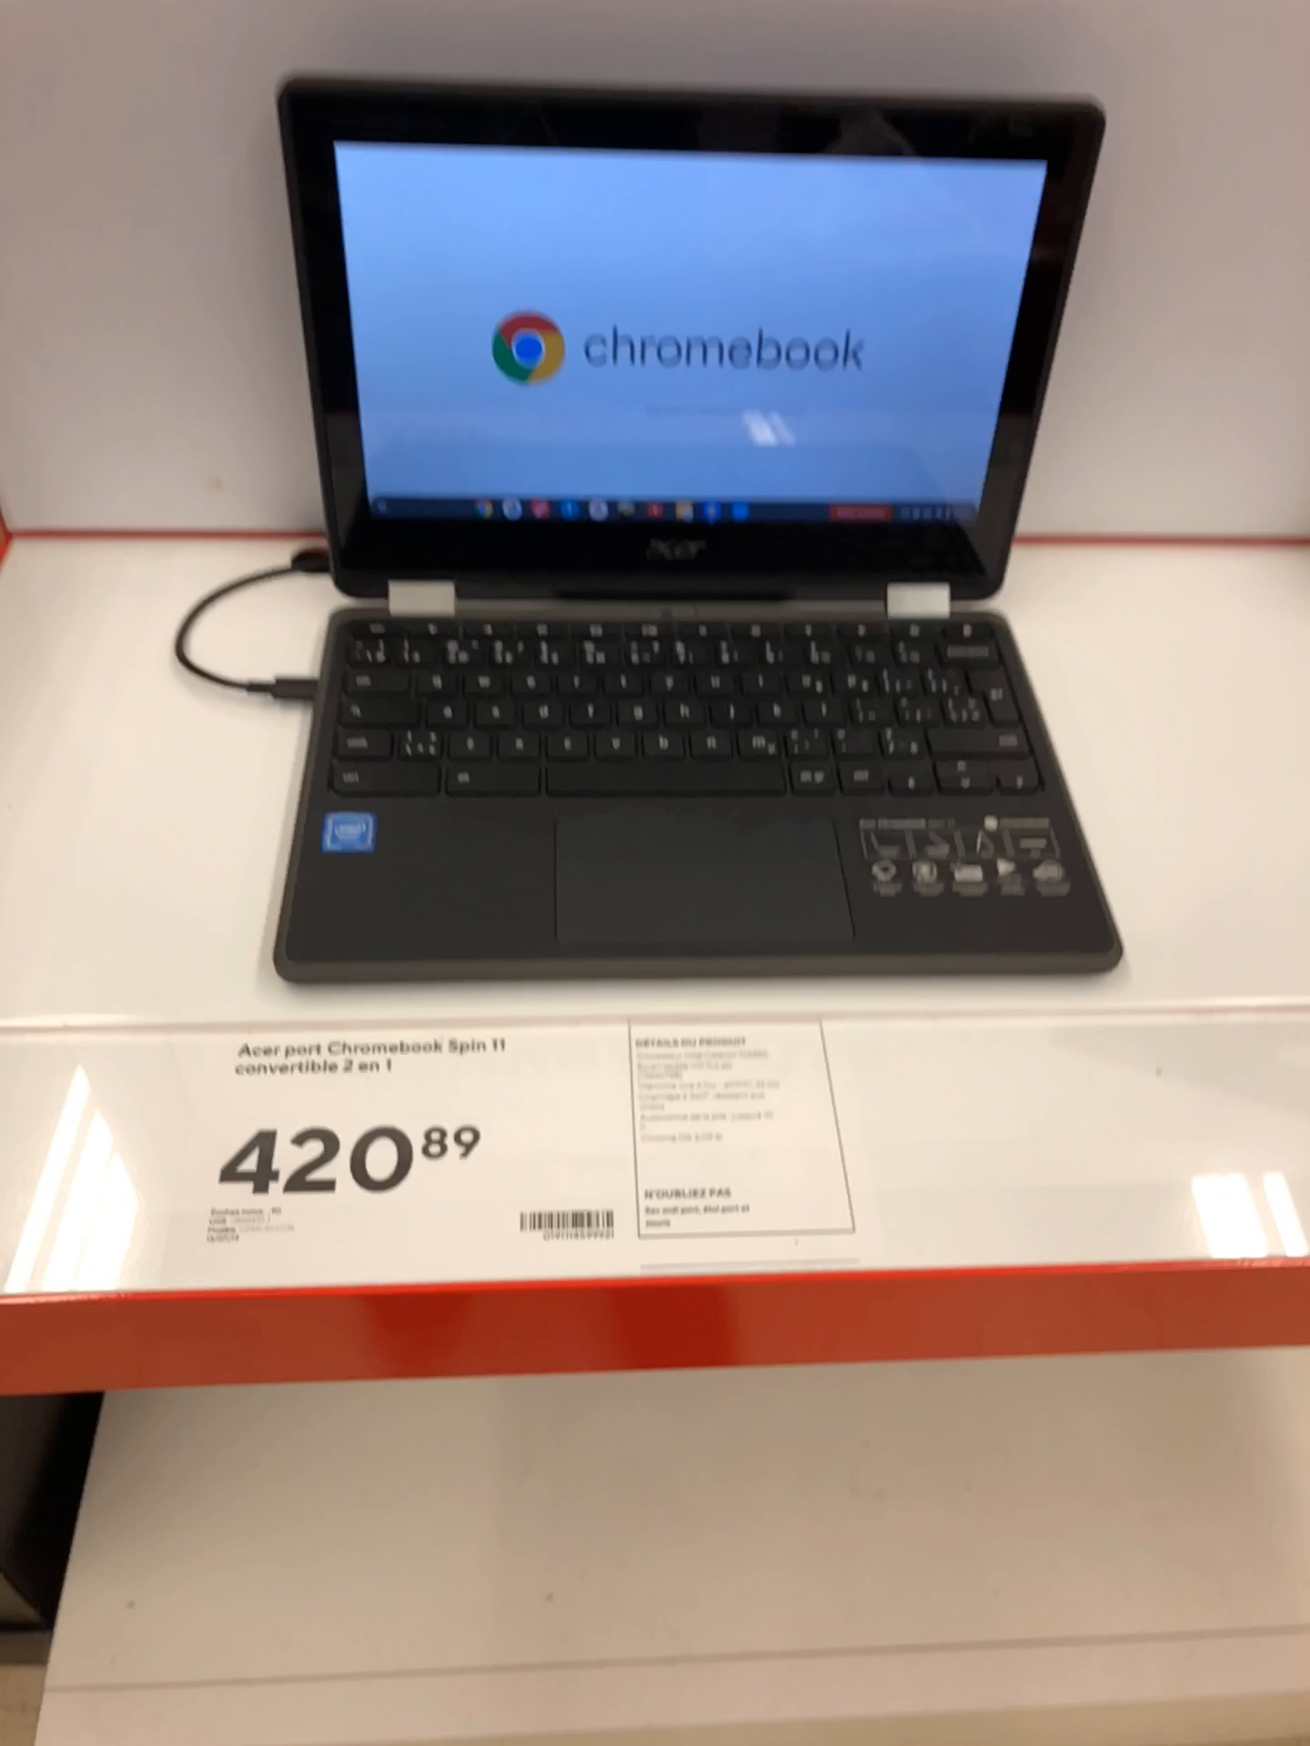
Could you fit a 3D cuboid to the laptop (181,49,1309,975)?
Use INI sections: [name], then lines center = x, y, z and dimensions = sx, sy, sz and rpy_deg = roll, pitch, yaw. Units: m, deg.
[laptop]
center = 0.015, -0.130, 0.518
dimensions = 0.289, 0.198, 0.253
rpy_deg = -1, 49, -4
